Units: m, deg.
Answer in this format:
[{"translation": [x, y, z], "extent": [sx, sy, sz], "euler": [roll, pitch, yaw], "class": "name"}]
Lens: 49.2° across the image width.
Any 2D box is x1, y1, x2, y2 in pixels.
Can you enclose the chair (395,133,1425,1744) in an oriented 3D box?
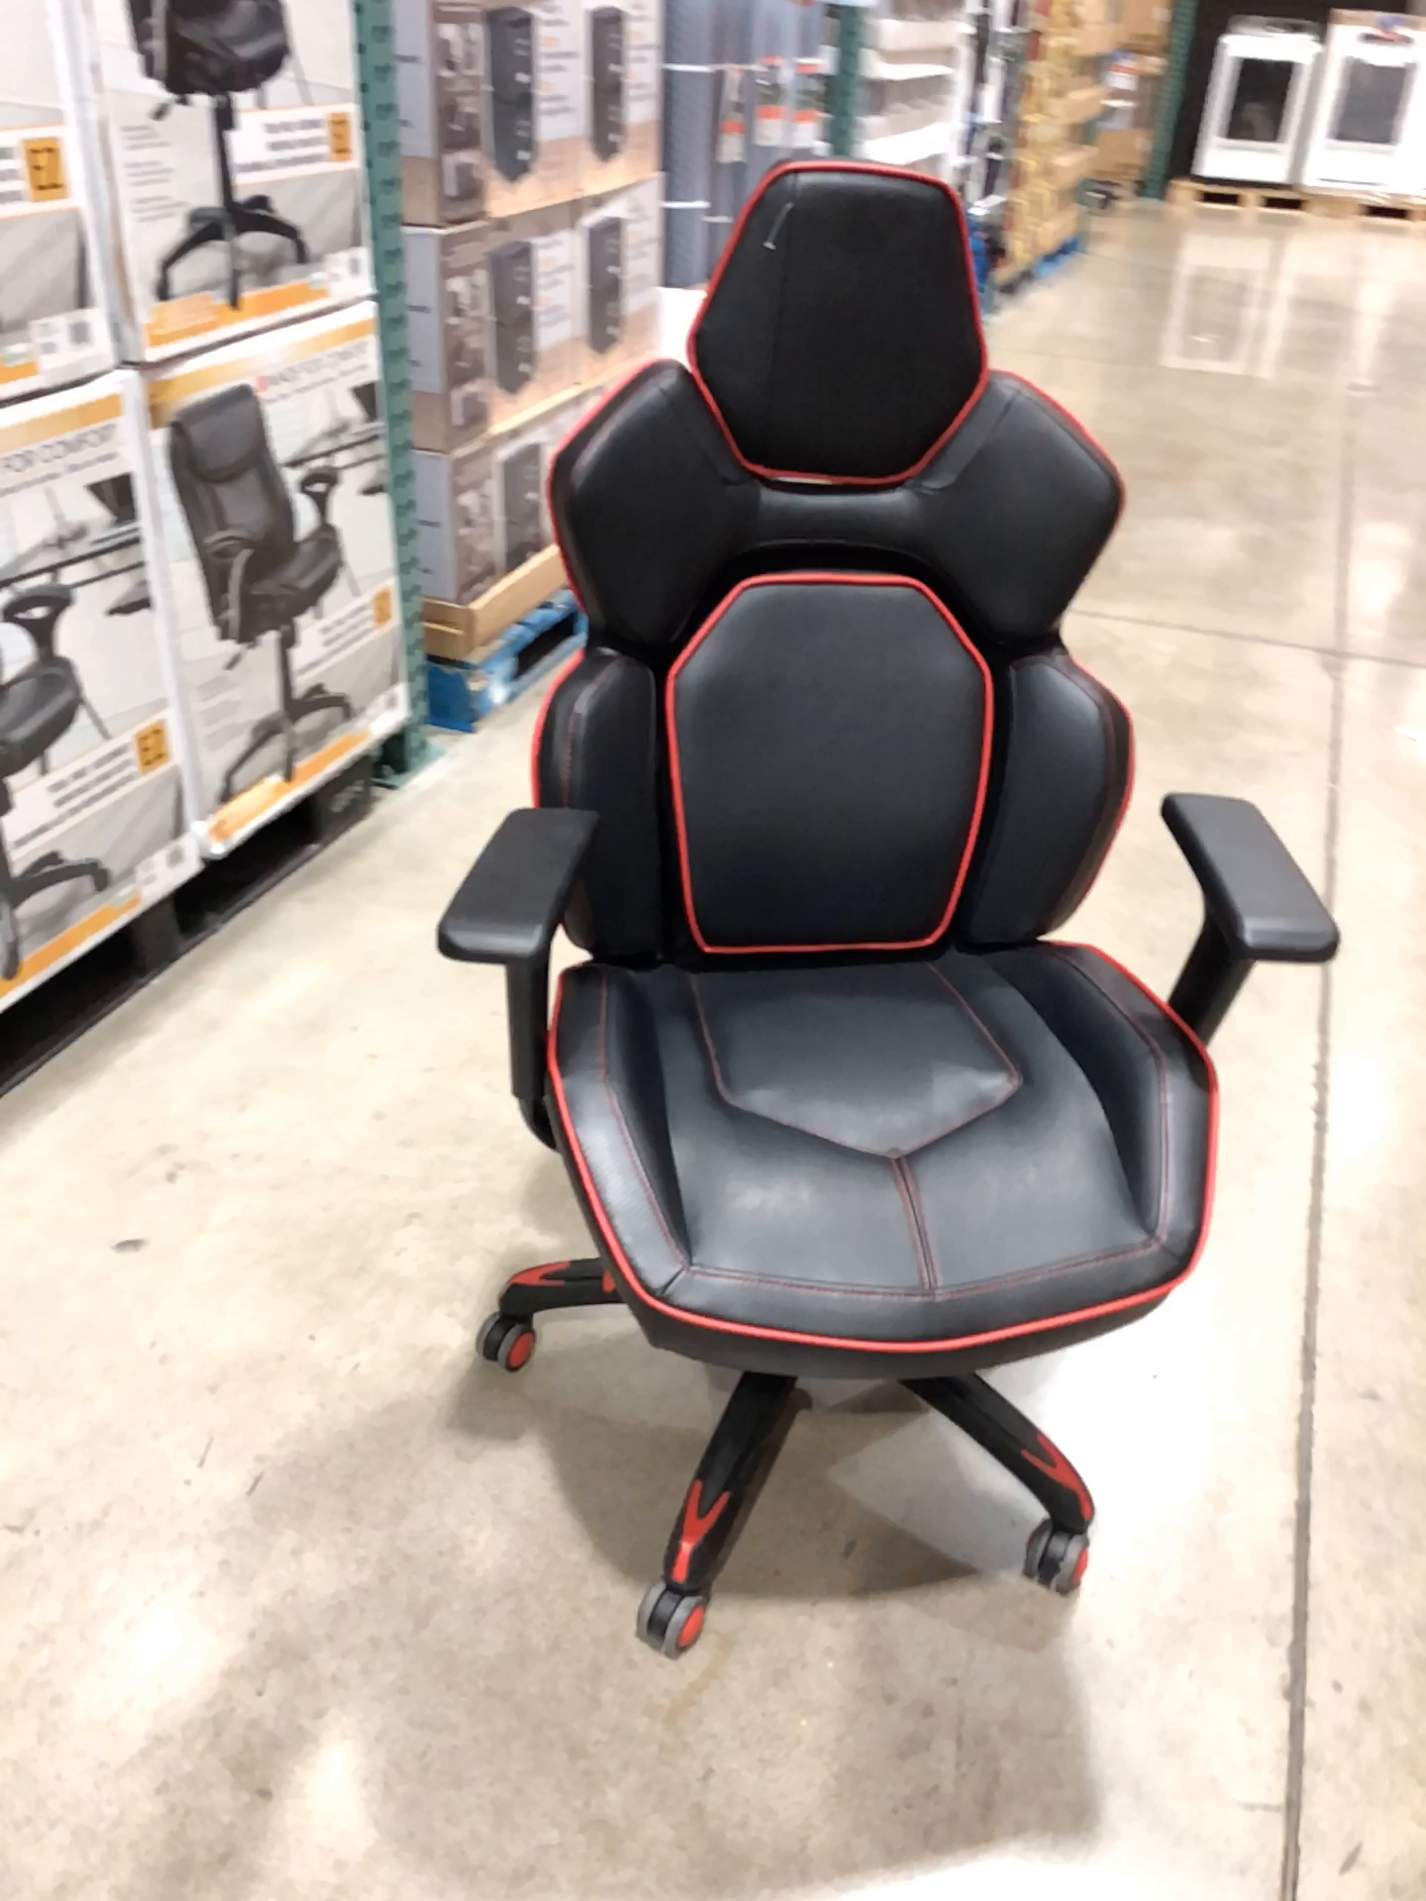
[{"translation": [0.127, -0.036, 1.383], "extent": [0.720, 1.145, 0.723], "euler": [-4, 32, -12], "class": "chair"}]
